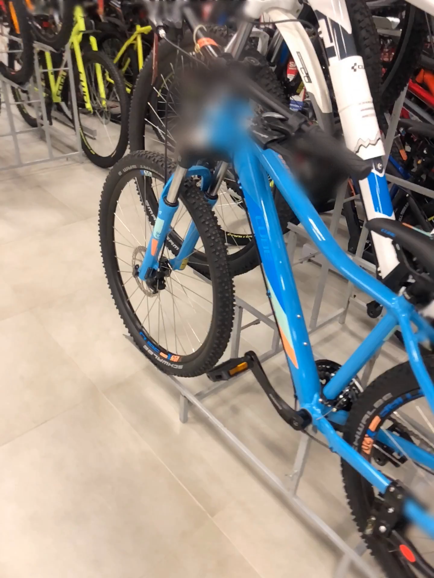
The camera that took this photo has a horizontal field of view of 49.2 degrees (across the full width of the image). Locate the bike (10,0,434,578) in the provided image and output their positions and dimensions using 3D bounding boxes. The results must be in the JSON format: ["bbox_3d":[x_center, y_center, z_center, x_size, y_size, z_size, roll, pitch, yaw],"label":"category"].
[{"bbox_3d":[0.250,0.013,1.082,0.632,1.082,1.706,-24,43,-35],"label":"bike"}]
